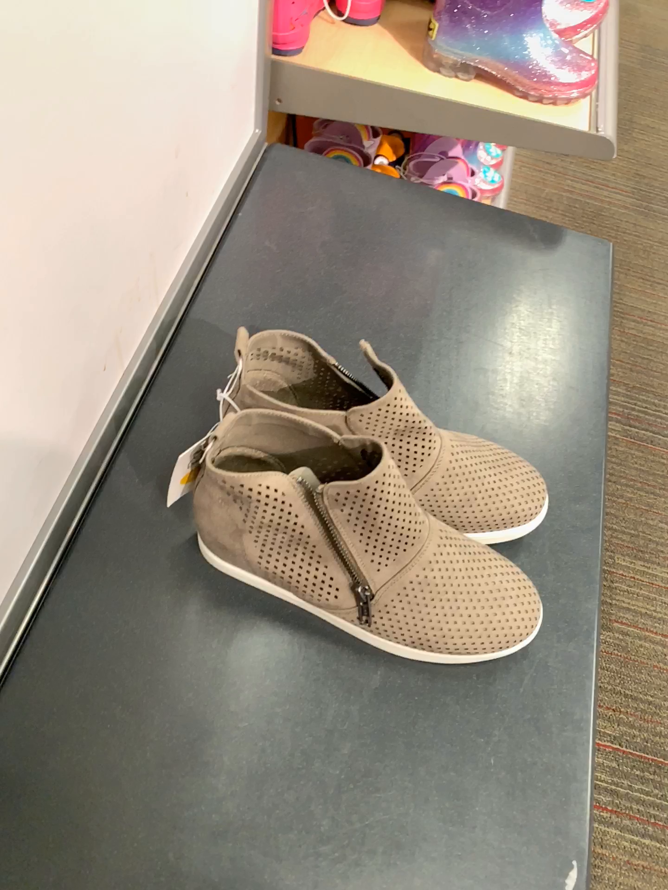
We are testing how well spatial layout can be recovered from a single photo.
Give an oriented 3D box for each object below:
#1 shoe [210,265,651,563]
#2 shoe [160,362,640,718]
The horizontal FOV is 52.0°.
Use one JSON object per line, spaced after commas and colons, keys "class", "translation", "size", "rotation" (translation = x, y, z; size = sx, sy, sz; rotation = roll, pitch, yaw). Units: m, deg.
{"class": "shoe", "translation": [0.053, -0.013, 0.465], "size": [0.250, 0.140, 0.100], "rotation": [10, 58, -3]}
{"class": "shoe", "translation": [0.034, 0.067, 0.435], "size": [0.250, 0.140, 0.100], "rotation": [19, 58, 3]}
